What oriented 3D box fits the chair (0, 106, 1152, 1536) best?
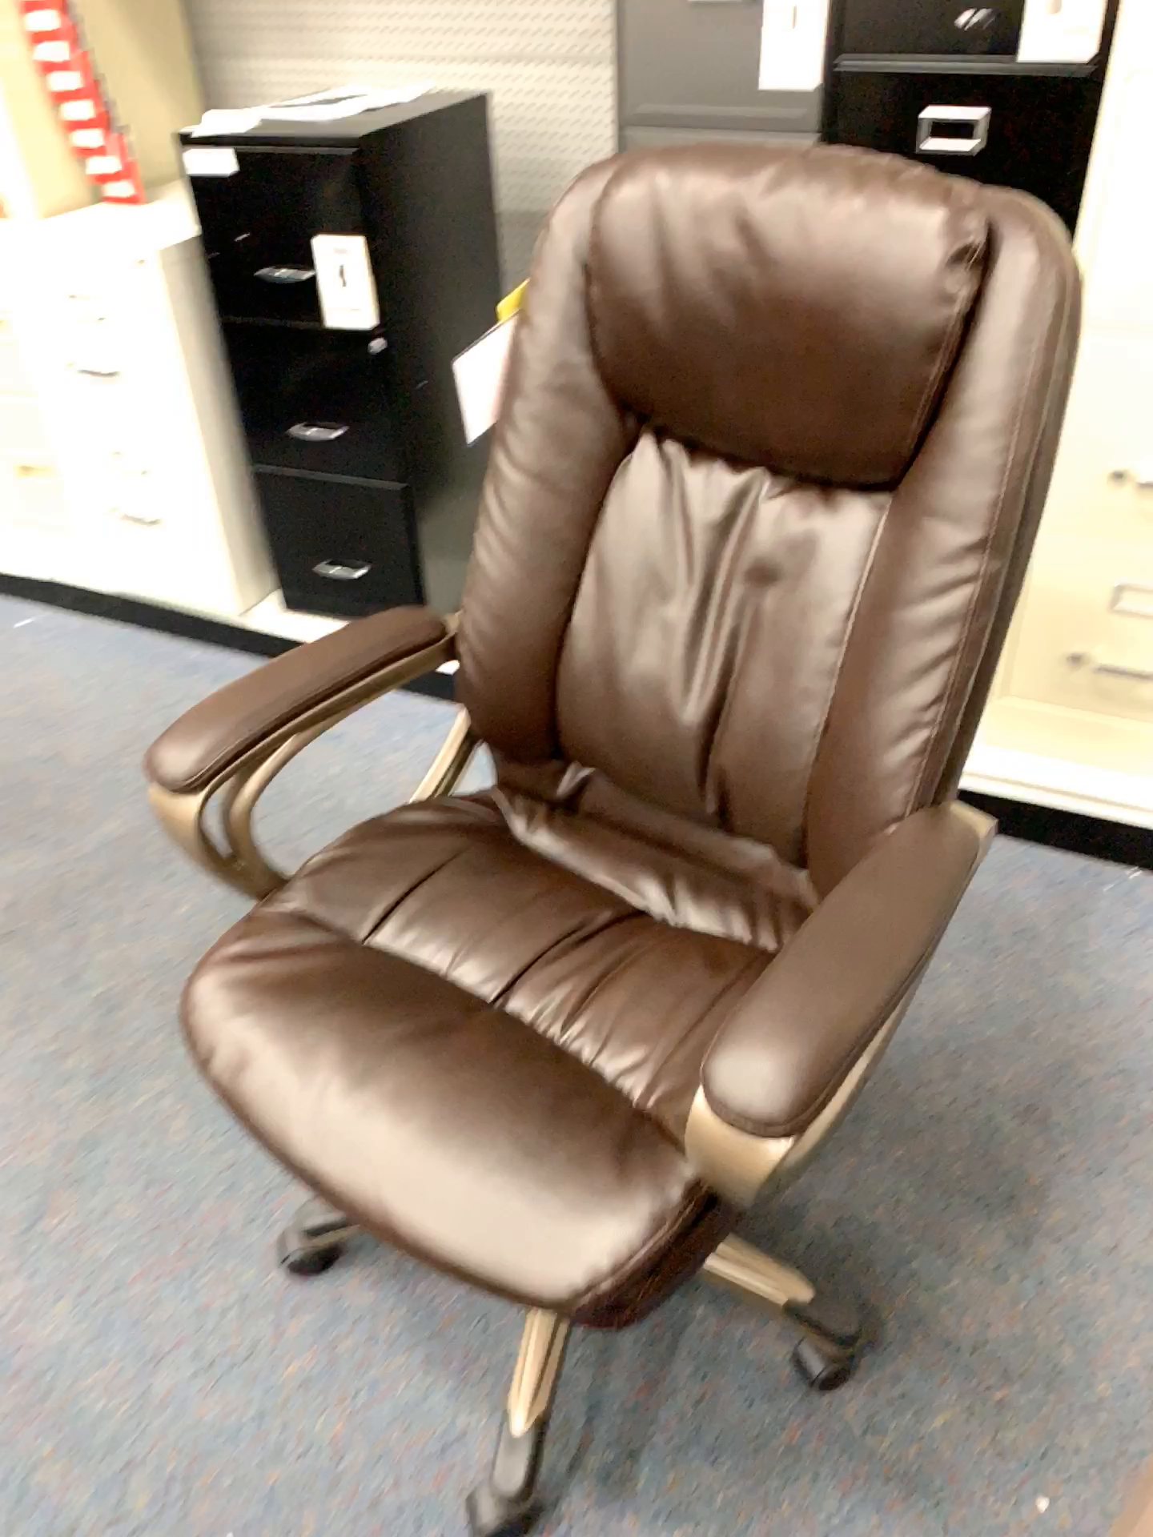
[{"bbox_3d":[0.029,0.074,1.131,0.726,1.112,0.814,26,45,33],"label":"chair"}]
